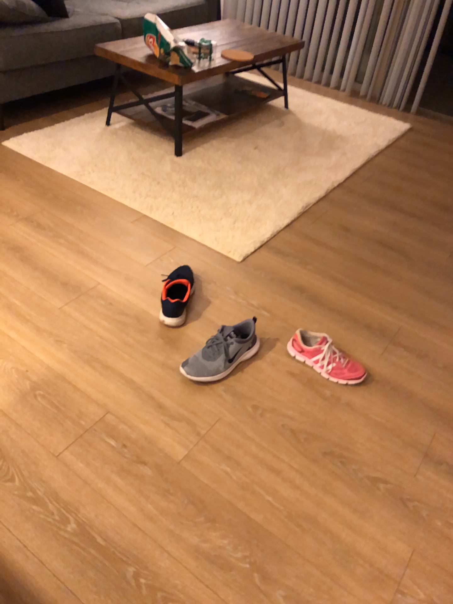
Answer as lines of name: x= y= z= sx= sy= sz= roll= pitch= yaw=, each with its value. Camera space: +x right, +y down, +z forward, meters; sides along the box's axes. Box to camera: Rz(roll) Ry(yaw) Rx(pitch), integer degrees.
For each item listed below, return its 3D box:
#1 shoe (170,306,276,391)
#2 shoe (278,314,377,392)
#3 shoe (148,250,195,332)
shoe: x=-0.008 y=0.140 z=1.584 sx=0.321 sy=0.080 sz=0.130 roll=-27 pitch=51 yaw=-34
shoe: x=0.327 y=0.161 z=1.636 sx=0.280 sy=0.089 sz=0.131 roll=23 pitch=43 yaw=18
shoe: x=-0.191 y=-0.045 z=1.790 sx=0.130 sy=0.099 sz=0.322 roll=5 pitch=40 yaw=-3
